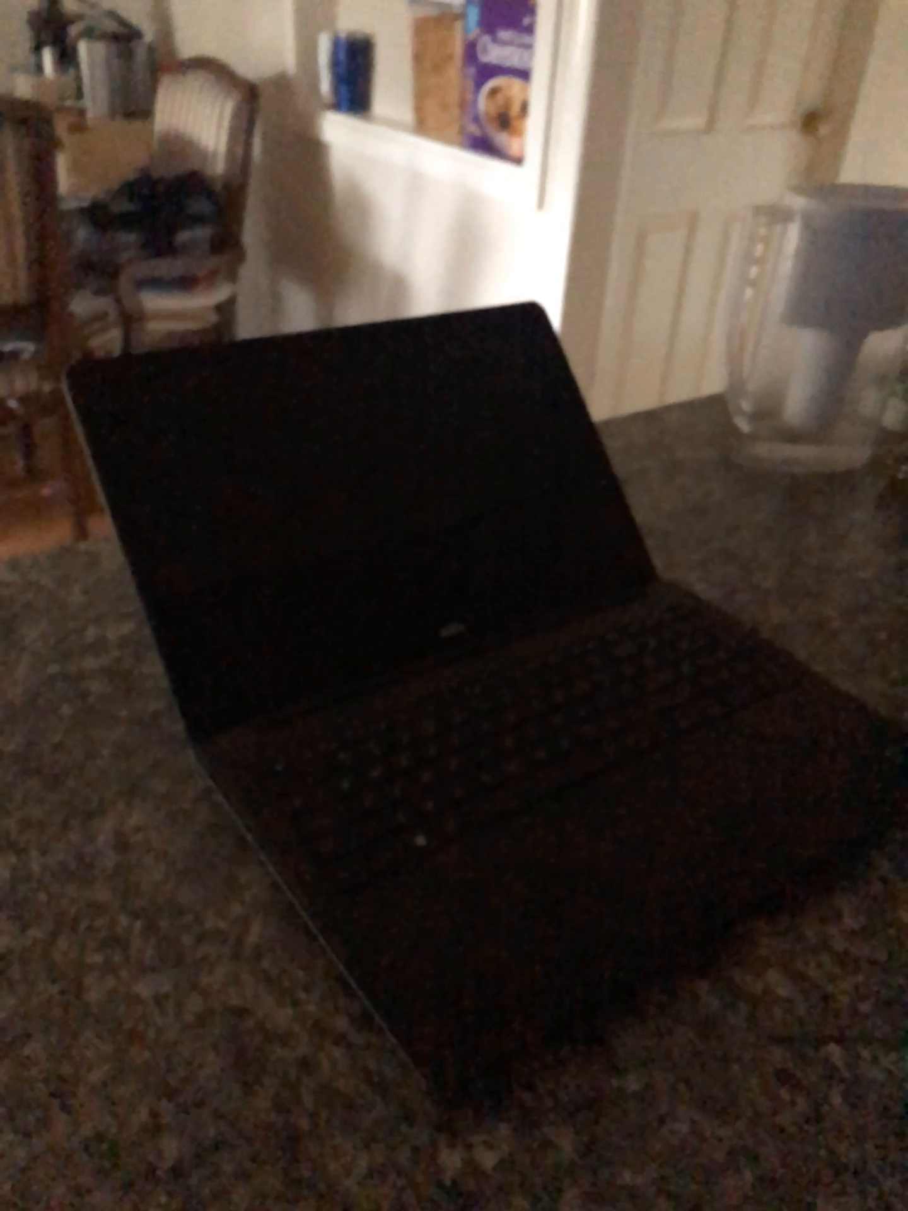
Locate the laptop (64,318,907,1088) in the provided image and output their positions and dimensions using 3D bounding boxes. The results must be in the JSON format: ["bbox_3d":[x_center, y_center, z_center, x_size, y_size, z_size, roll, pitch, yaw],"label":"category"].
[{"bbox_3d":[0.026,-0.016,0.596,0.361,0.158,0.416,-18,38,-31],"label":"laptop"}]
